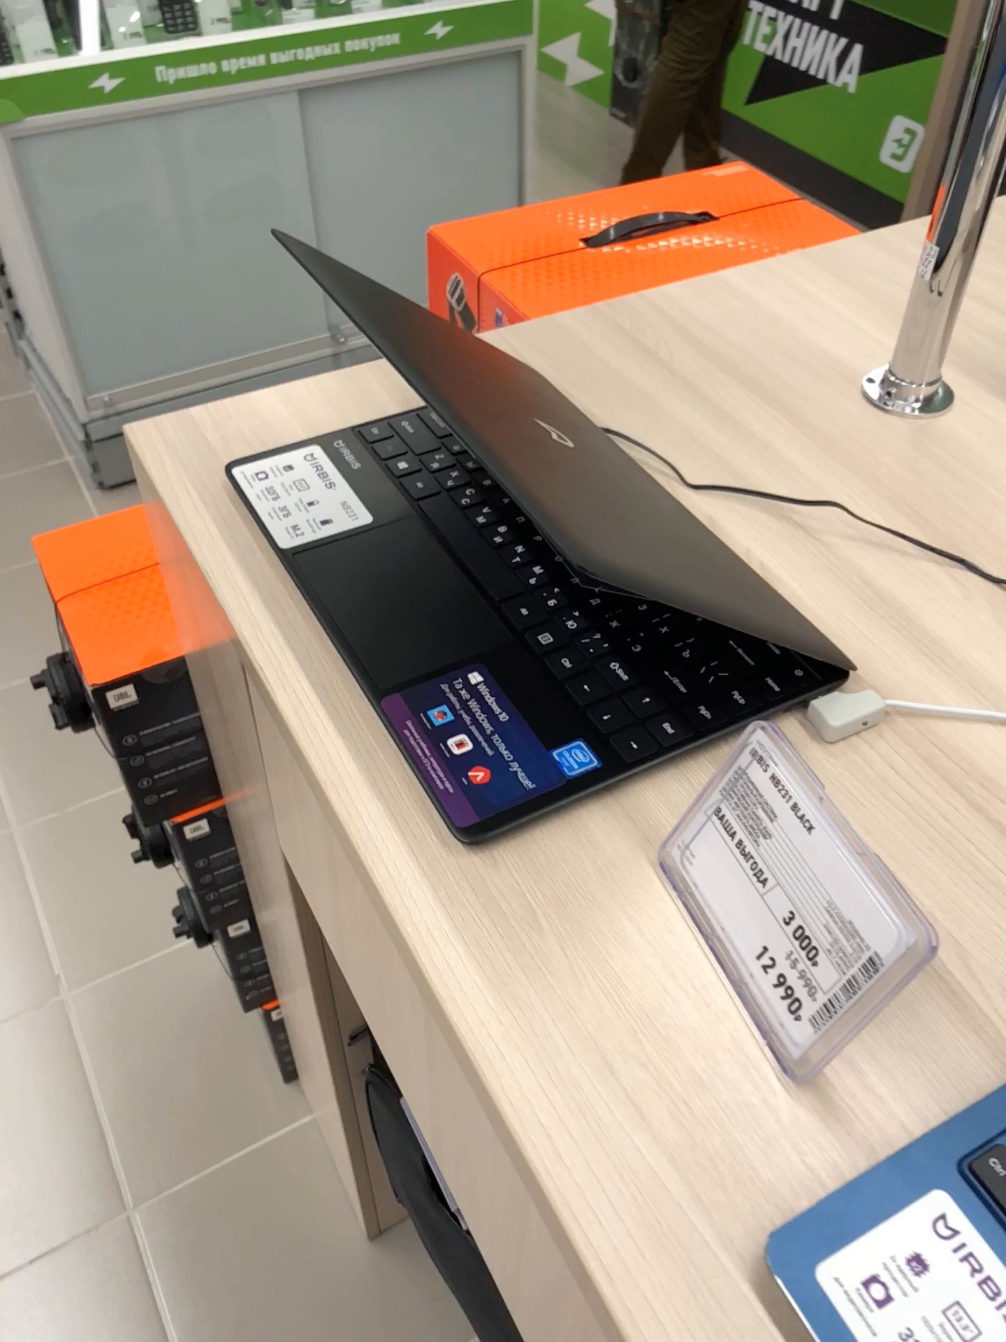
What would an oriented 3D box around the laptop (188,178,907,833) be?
[{"bbox_3d":[0.000,-0.106,0.547,0.203,0.132,0.300,-20,48,-20],"label":"laptop"}]
